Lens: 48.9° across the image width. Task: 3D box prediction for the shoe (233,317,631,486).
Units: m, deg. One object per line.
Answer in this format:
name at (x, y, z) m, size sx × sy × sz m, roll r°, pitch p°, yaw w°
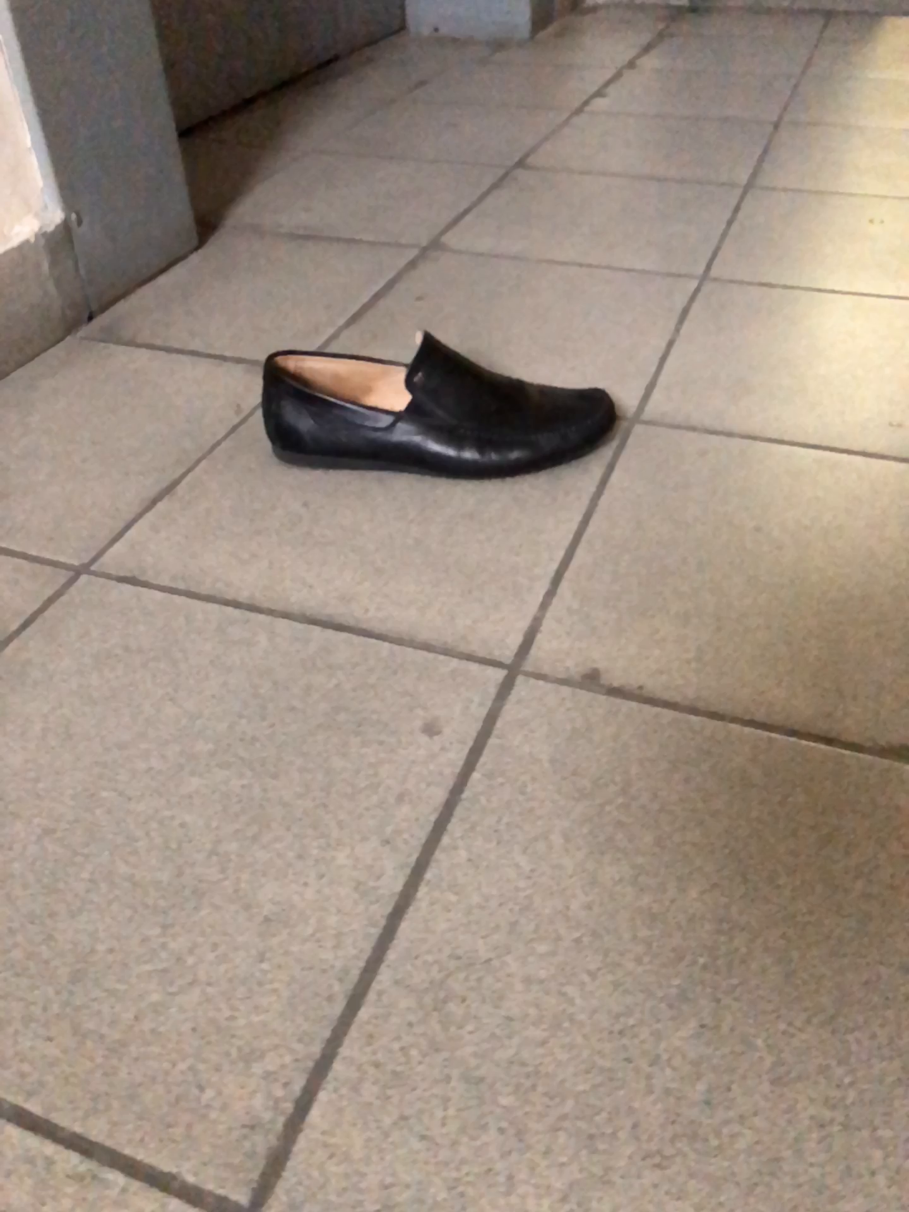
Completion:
shoe at (-0.012, -0.152, 0.741) m, size 0.270 × 0.079 × 0.108 m, roll 1°, pitch 40°, yaw 5°
